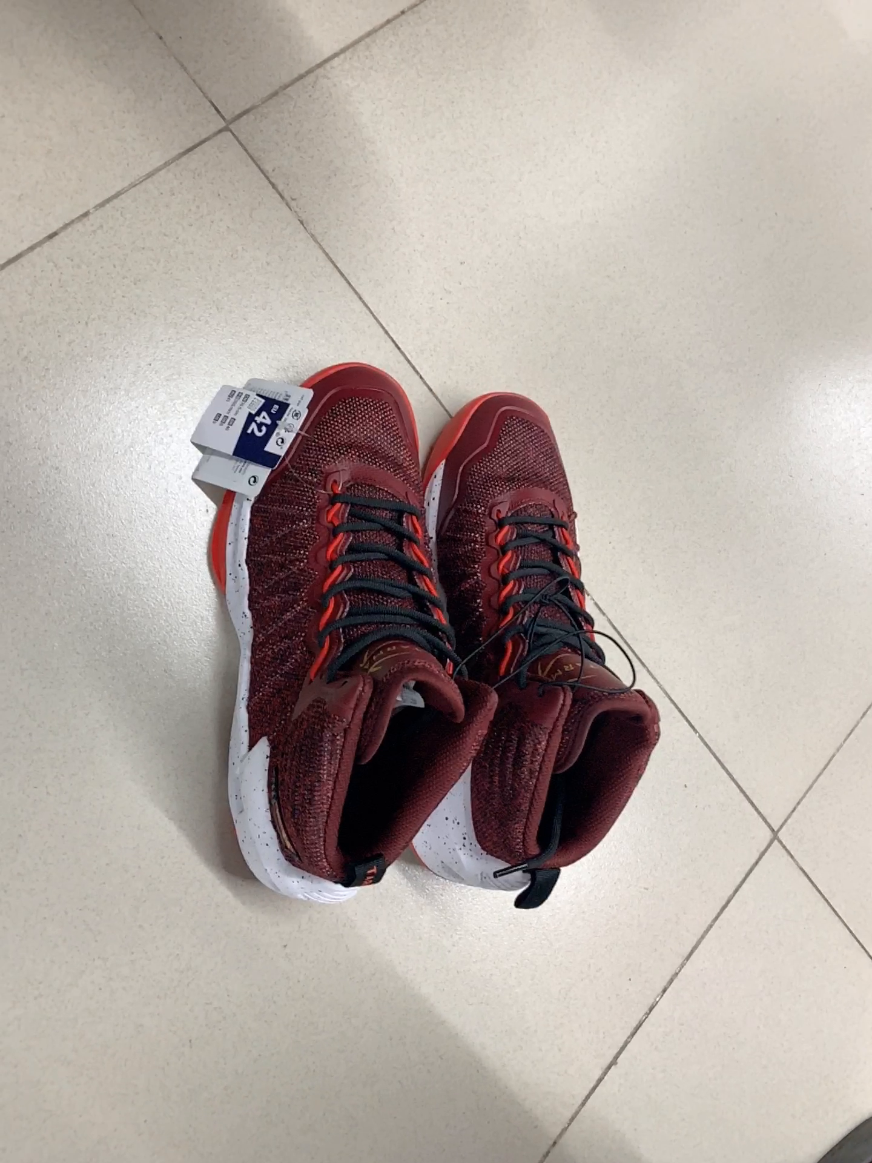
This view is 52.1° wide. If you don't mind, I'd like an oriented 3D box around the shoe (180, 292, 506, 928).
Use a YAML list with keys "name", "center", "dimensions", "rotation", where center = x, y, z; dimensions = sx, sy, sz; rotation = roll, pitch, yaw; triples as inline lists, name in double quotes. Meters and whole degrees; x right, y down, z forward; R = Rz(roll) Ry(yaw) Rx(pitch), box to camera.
- name: "shoe"
  center: [-0.051, 0.018, 0.464]
  dimensions: [0.120, 0.110, 0.280]
  rotation: [6, 84, -21]

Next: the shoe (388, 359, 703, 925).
- name: "shoe"
  center: [0.058, 0.034, 0.498]
  dimensions: [0.120, 0.110, 0.270]
  rotation: [6, 84, -21]
